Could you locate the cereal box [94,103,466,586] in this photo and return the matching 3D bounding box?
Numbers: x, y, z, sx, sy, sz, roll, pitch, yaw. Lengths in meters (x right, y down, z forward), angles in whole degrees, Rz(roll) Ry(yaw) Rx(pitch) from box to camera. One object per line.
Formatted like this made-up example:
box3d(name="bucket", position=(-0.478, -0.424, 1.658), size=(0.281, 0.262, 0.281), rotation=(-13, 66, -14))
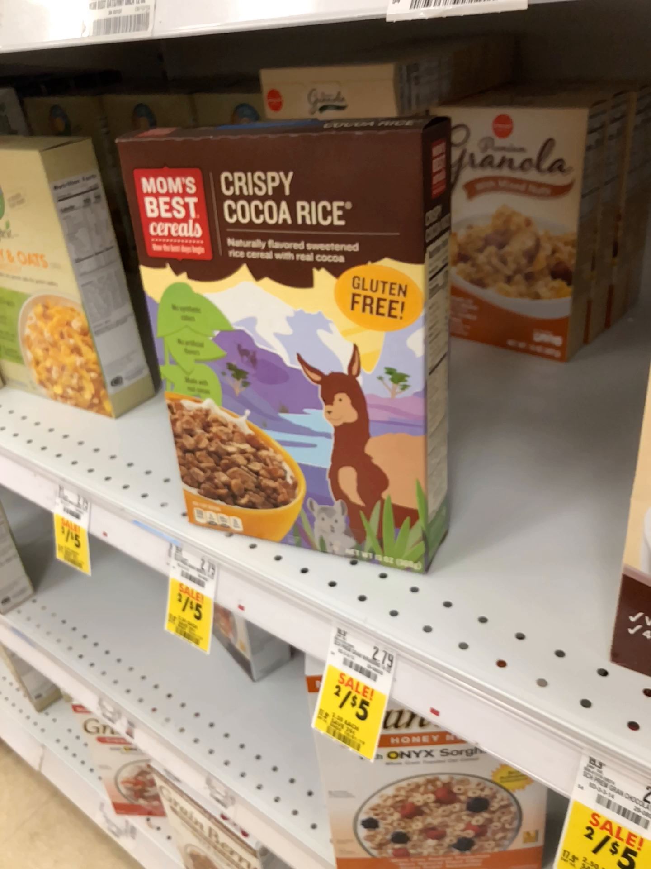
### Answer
box3d(name="cereal box", position=(-0.018, -0.057, 0.482), size=(0.200, 0.279, 0.080), rotation=(8, 30, 24))
